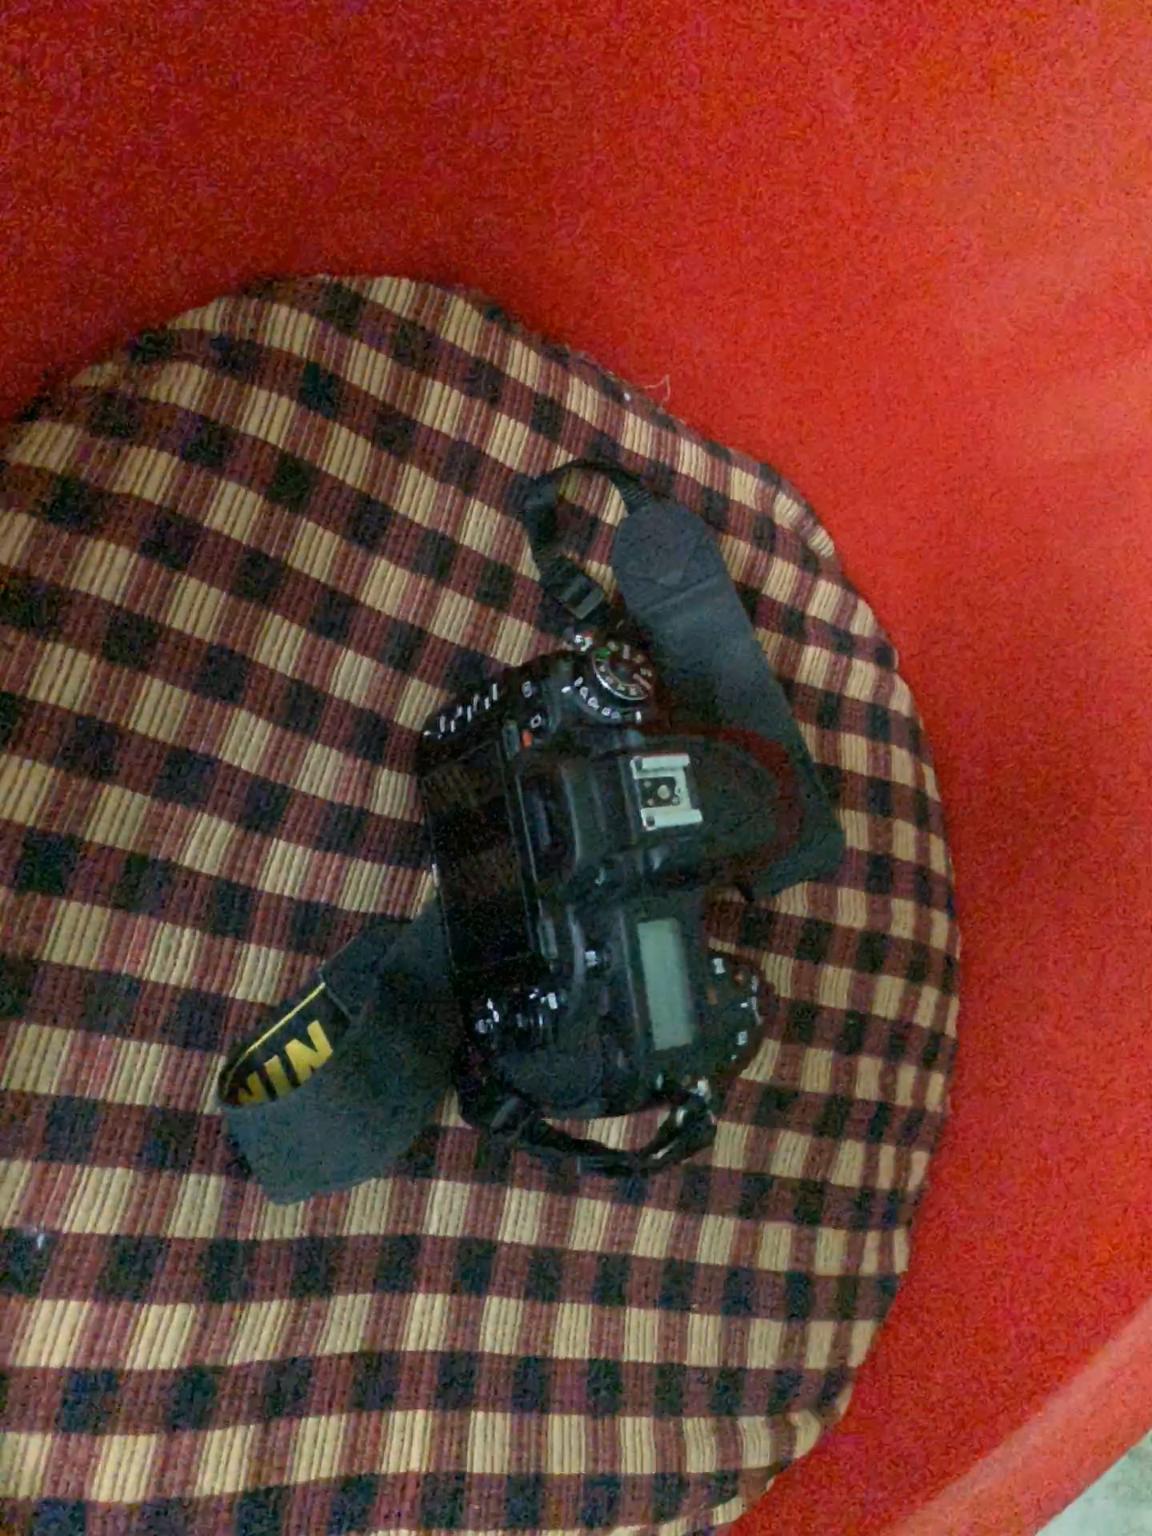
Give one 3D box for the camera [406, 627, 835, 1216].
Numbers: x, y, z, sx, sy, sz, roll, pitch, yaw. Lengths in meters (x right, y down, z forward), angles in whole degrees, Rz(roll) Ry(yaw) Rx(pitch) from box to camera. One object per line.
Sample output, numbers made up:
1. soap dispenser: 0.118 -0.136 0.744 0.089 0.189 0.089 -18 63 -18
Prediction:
1. camera: 0.009 0.040 0.342 0.080 0.090 0.140 0 84 -32
